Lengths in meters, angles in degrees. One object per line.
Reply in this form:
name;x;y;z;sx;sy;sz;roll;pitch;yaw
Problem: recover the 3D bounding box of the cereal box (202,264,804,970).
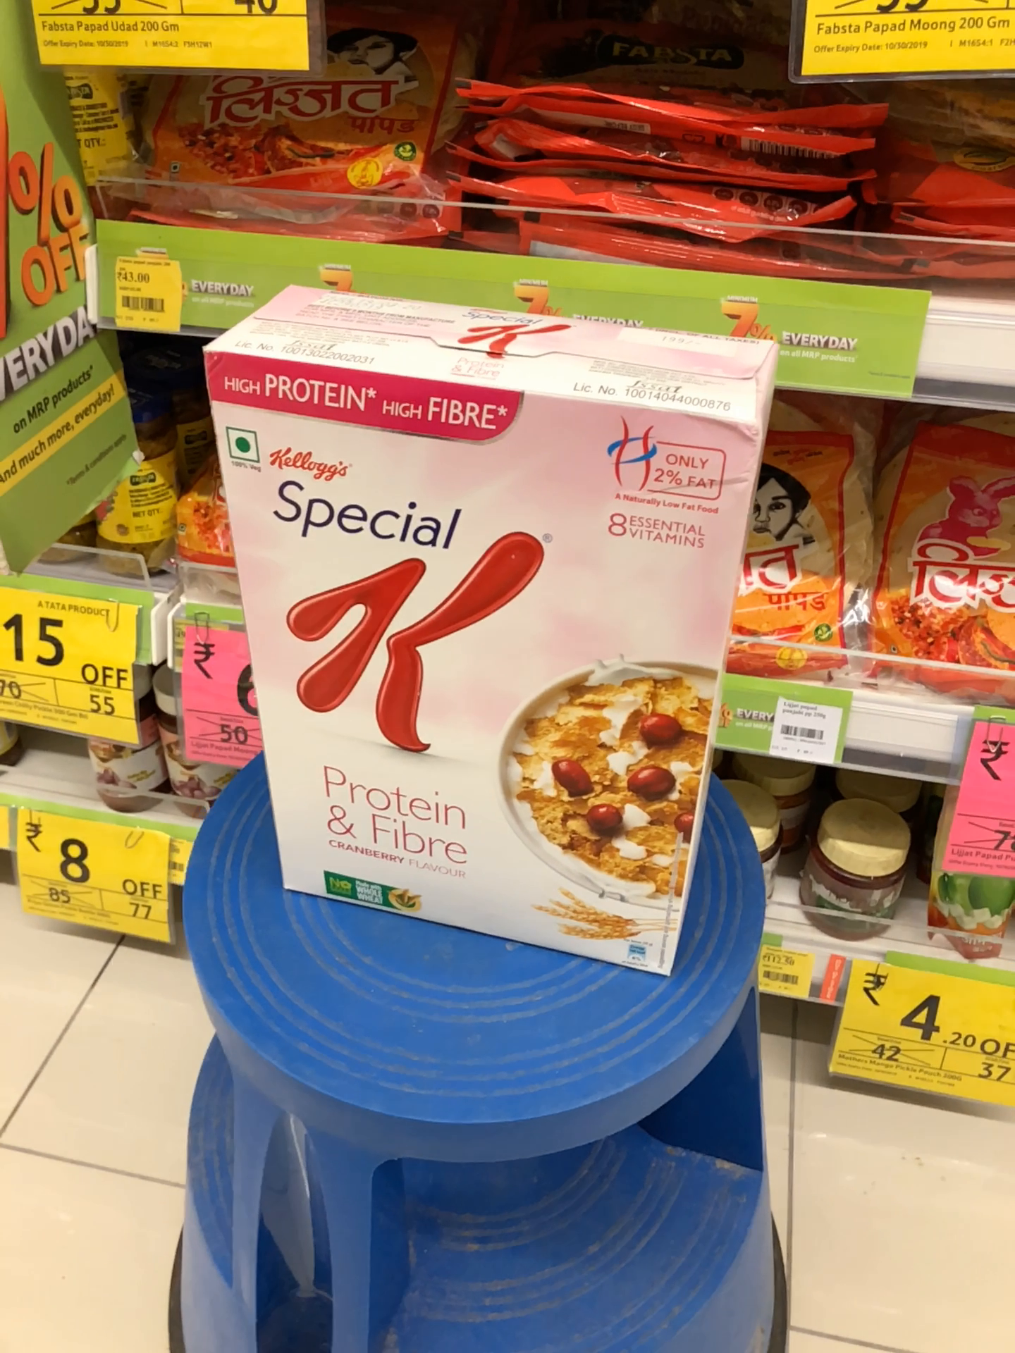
cereal box;0.000;-0.014;0.434;0.180;0.248;0.070;10;39;13
